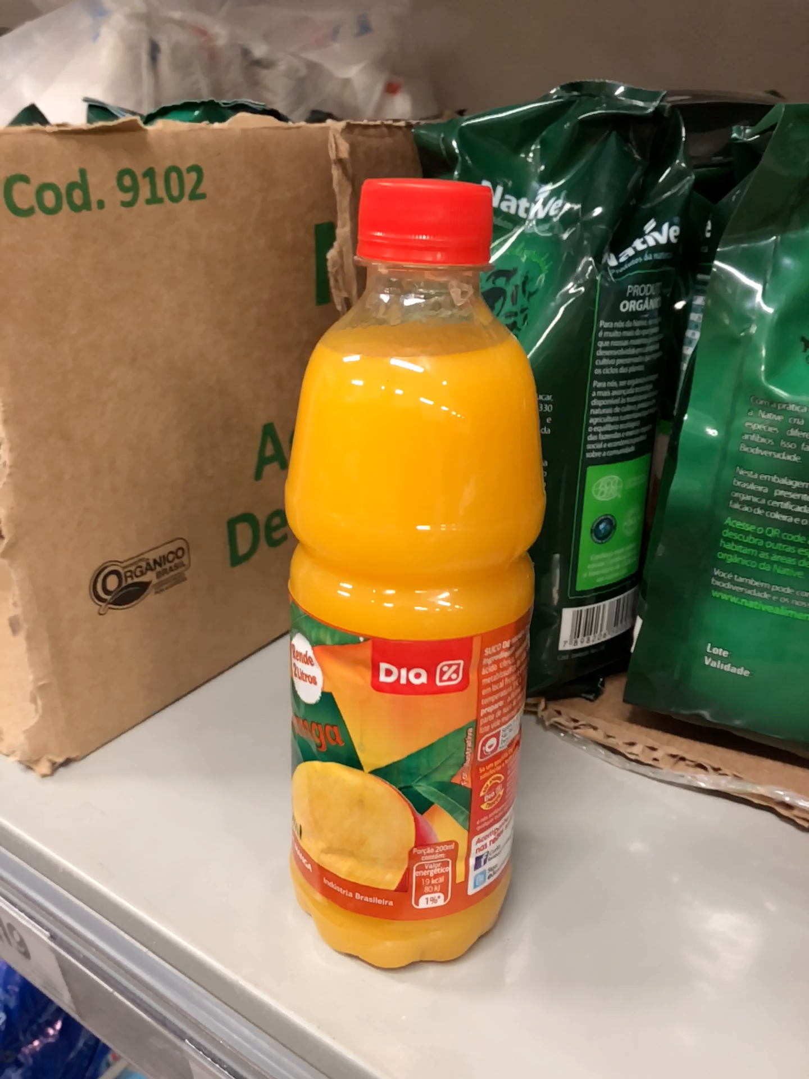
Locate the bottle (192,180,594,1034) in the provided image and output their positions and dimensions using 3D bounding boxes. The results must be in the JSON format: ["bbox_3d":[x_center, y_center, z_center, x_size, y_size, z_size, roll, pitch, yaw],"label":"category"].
[{"bbox_3d":[-0.005,0.015,0.233,0.060,0.199,0.070,-13,25,-29],"label":"bottle"}]
